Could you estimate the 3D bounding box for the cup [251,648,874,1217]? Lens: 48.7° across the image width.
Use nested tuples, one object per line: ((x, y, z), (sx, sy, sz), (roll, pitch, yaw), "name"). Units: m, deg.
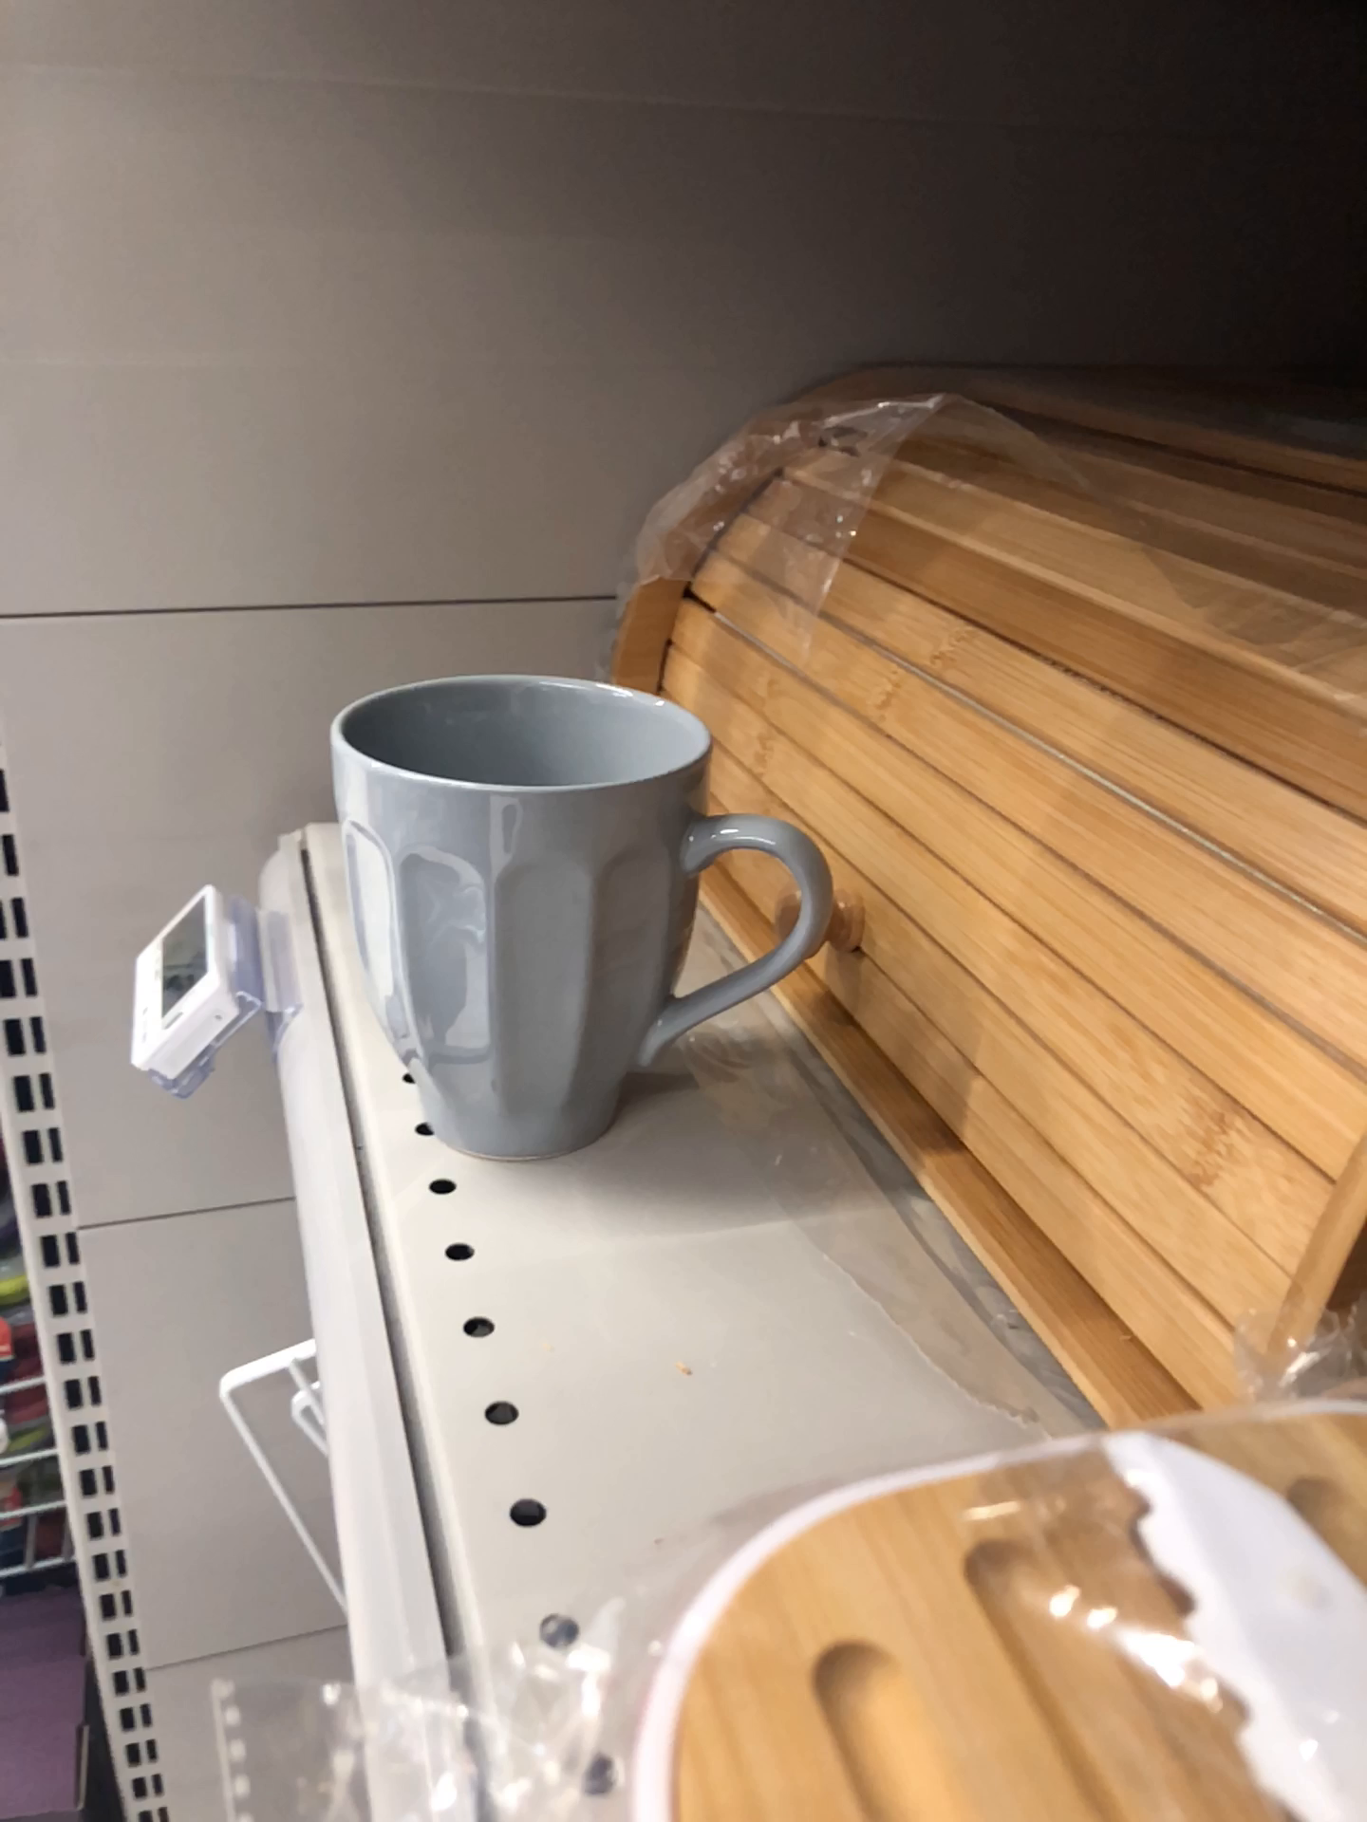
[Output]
((-0.024, -0.002, 0.364), (0.116, 0.091, 0.093), (9, 25, 15), "cup")
